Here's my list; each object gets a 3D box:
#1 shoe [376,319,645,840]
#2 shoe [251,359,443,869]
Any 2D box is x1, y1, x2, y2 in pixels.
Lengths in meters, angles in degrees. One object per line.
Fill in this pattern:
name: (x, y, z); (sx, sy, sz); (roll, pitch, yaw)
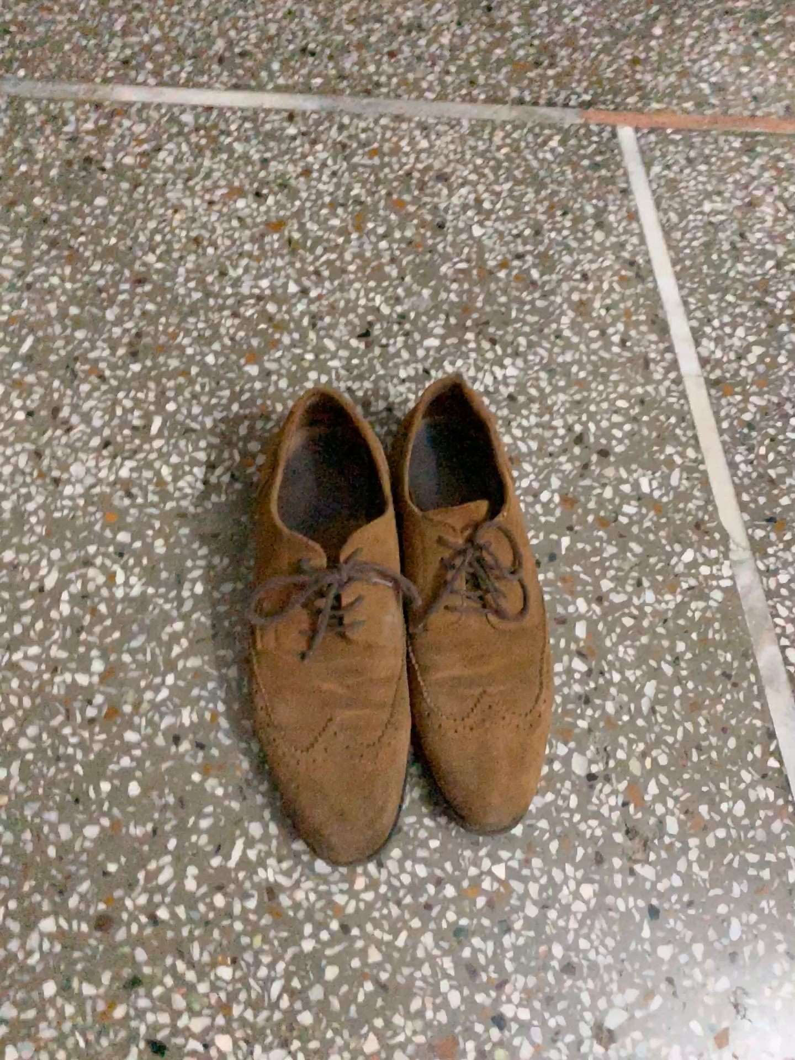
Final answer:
shoe: (0.056, 0.027, 0.525); (0.100, 0.110, 0.310); (-3, 68, -8)
shoe: (-0.042, 0.051, 0.534); (0.100, 0.110, 0.310); (-1, 68, -7)
